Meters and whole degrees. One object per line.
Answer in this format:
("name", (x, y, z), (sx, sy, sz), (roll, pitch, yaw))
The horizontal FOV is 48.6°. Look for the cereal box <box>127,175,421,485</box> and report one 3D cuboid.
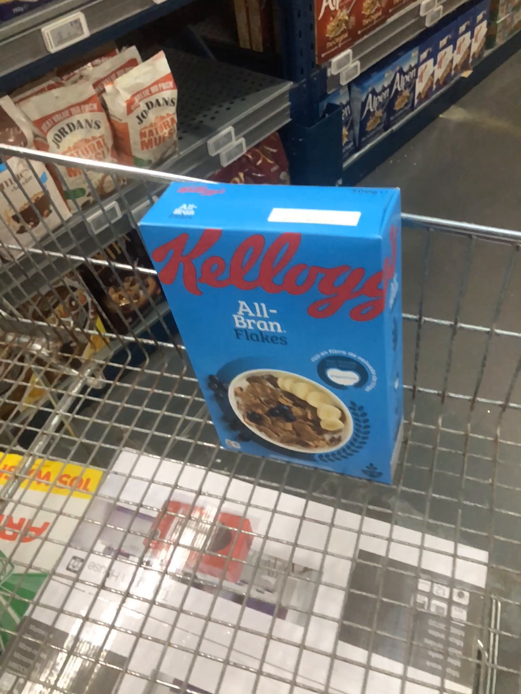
("cereal box", (0.027, -0.006, 0.511), (0.200, 0.269, 0.080), (8, 46, 19))
